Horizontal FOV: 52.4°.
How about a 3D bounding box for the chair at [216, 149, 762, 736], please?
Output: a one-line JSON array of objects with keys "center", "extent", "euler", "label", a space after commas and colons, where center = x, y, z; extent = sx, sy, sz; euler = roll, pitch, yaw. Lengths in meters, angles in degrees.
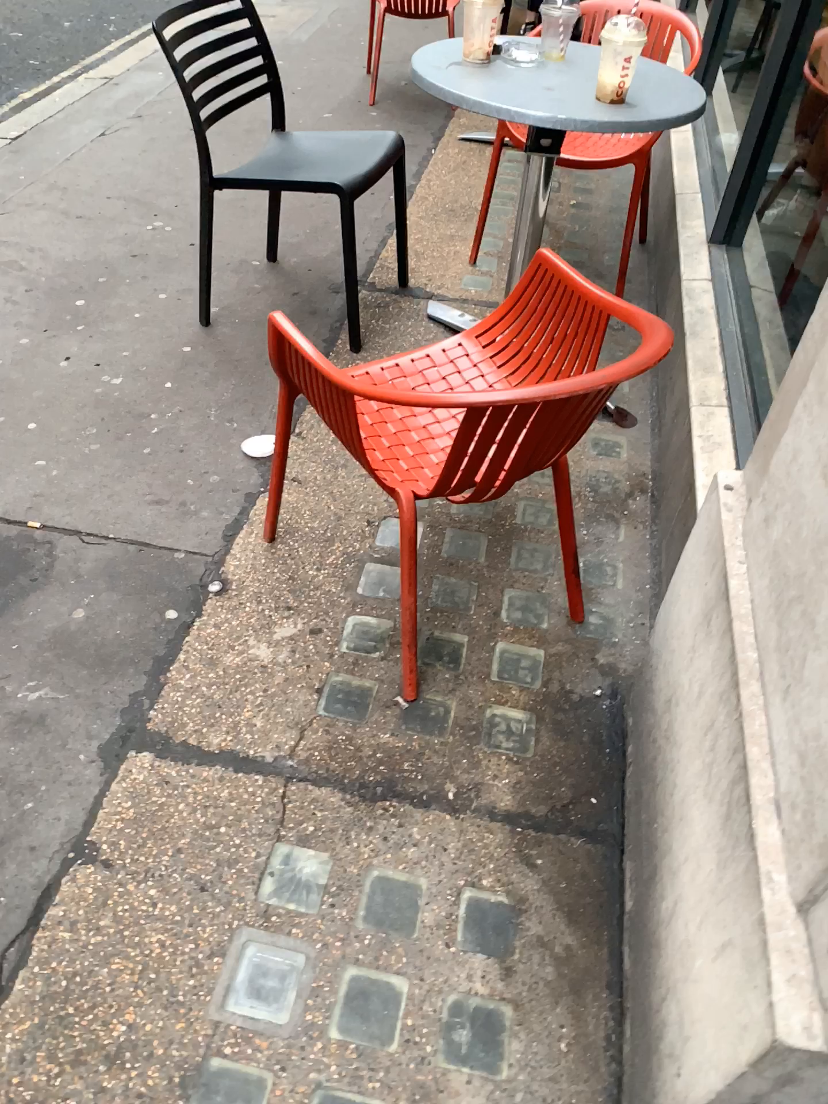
[{"center": [0.070, -0.218, 1.508], "extent": [0.581, 0.693, 0.615], "euler": [-21, 50, -24], "label": "chair"}]
